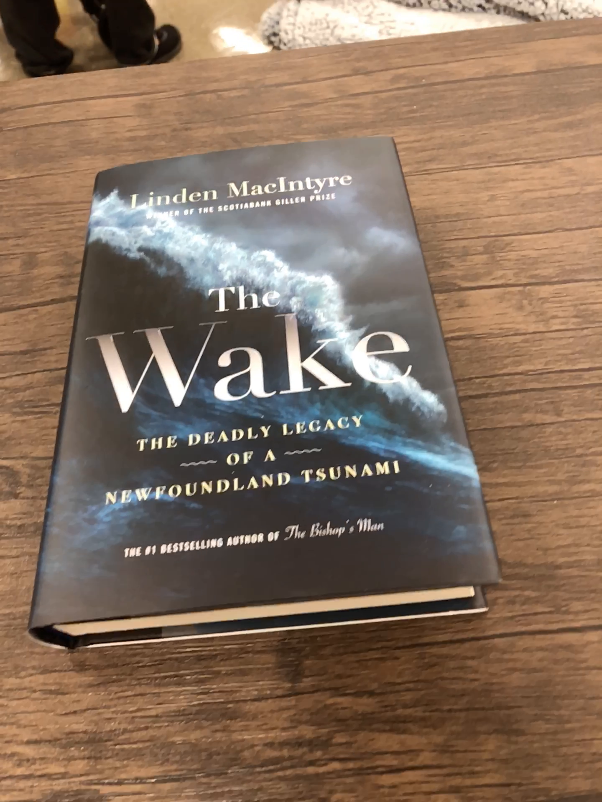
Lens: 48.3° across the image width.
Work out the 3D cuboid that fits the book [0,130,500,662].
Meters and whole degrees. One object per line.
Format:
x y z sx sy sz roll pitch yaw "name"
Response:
-0.024 -0.018 0.294 0.160 0.050 0.230 -5 56 1 "book"
